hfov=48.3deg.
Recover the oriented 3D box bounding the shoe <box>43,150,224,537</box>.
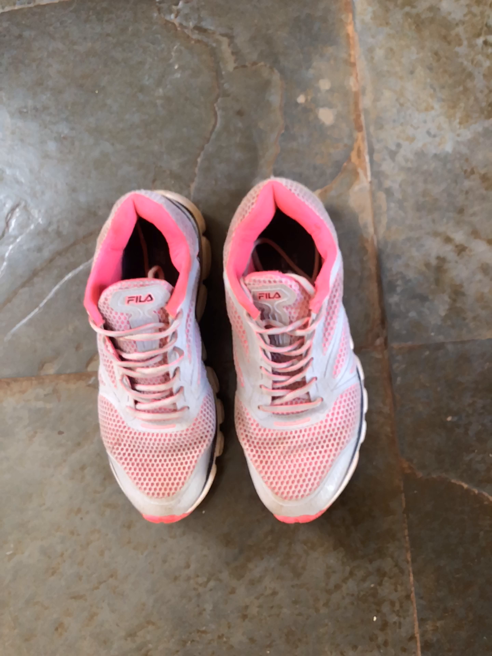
[{"bbox_3d":[-0.090,0.013,0.454,0.110,0.100,0.280,-5,82,8],"label":"shoe"}]

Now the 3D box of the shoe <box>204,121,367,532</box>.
[{"bbox_3d":[0.032,0.000,0.441,0.110,0.100,0.290,-2,83,8],"label":"shoe"}]
